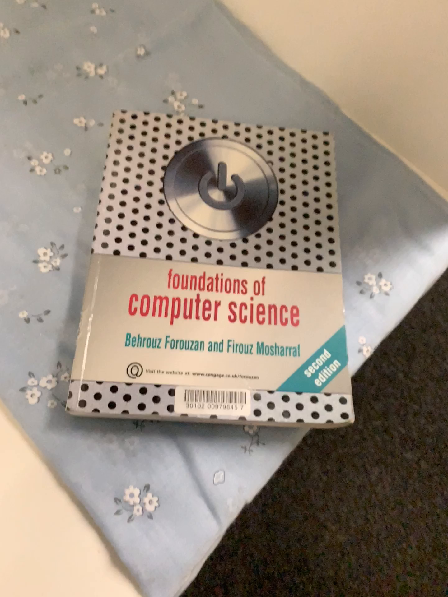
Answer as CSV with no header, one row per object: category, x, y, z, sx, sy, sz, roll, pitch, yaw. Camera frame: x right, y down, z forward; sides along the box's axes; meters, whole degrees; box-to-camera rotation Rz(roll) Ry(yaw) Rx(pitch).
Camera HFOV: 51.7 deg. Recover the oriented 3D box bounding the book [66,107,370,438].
book,0.000,-0.027,0.353,0.191,0.040,0.247,4,68,-5
